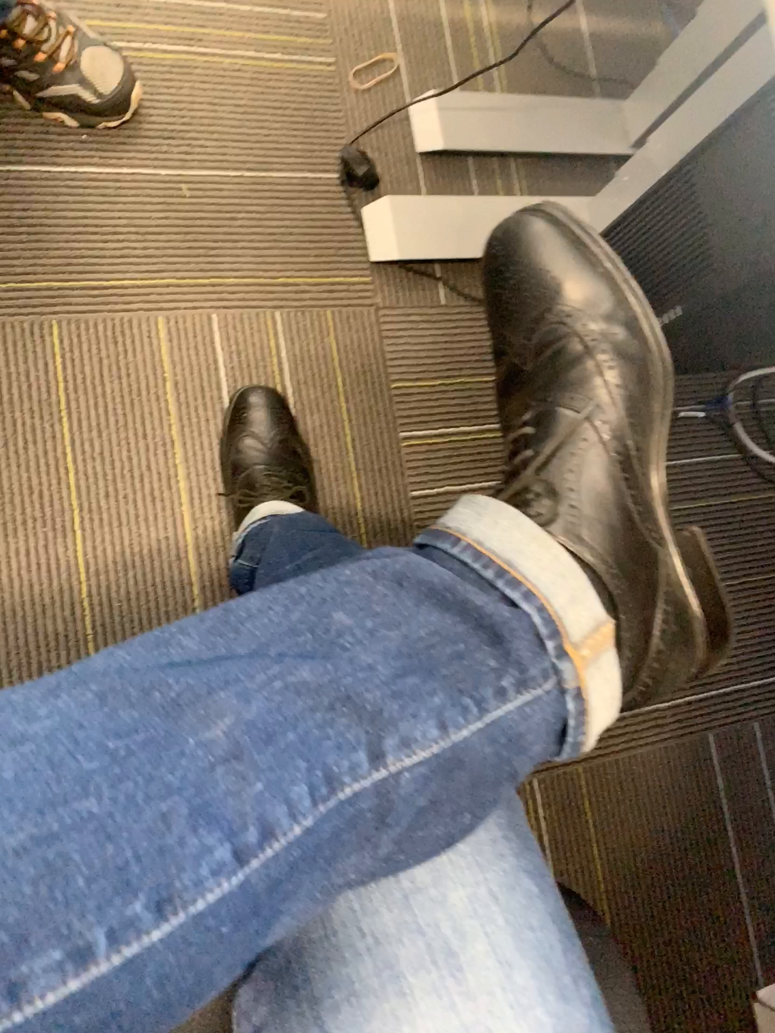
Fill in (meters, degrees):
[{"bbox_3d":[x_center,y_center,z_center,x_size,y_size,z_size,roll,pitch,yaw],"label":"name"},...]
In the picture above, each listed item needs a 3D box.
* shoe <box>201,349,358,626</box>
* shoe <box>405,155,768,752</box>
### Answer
[{"bbox_3d":[-0.121,-0.028,0.855,0.111,0.104,0.274,-8,84,-18],"label":"shoe"},{"bbox_3d":[0.095,-0.030,0.420,0.091,0.111,0.274,-7,84,-21],"label":"shoe"}]
